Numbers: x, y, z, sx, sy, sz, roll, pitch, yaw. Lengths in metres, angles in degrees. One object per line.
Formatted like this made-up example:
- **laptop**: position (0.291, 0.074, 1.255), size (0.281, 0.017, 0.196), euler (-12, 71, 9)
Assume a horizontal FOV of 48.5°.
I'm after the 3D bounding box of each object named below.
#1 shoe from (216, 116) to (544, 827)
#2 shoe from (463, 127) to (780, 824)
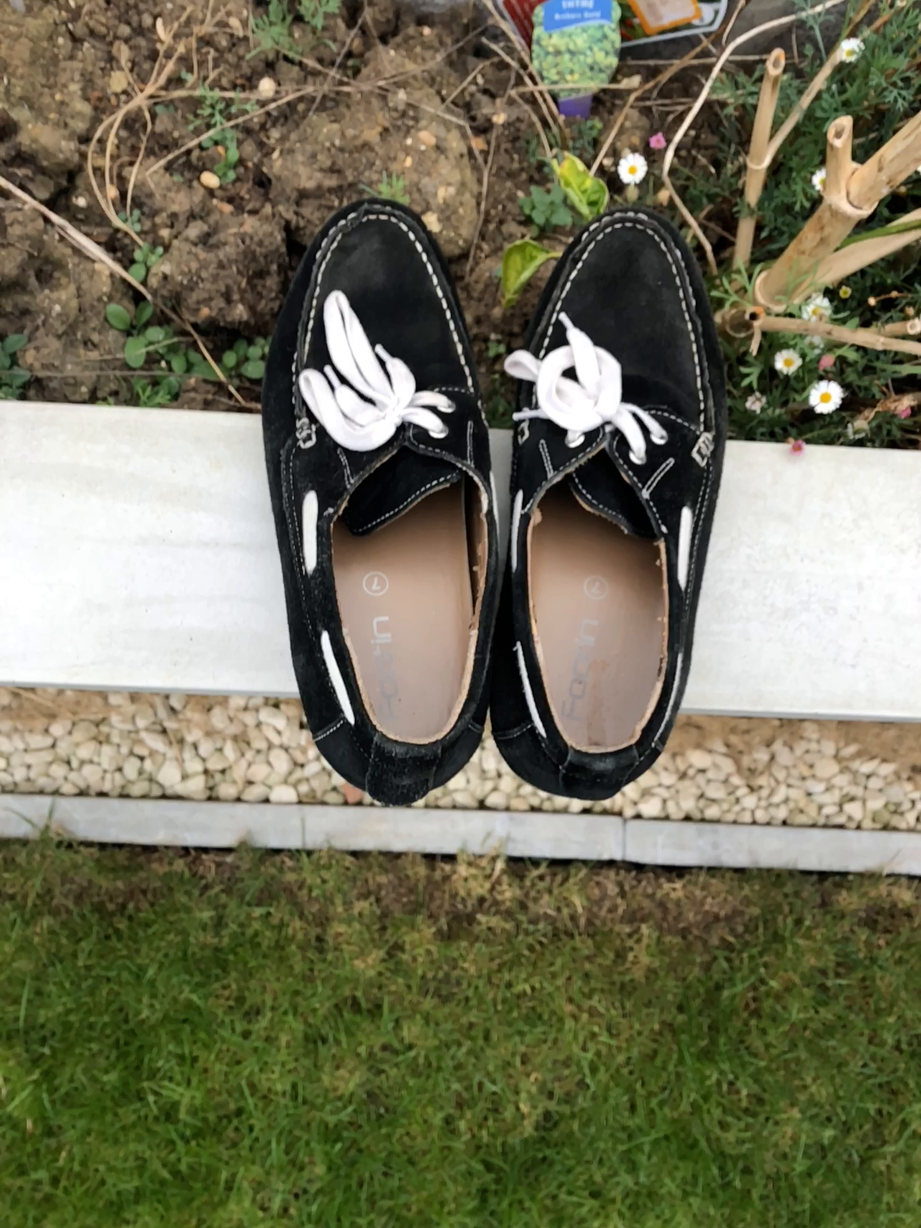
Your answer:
- **shoe**: position (-0.042, -0.068, 0.471), size (0.120, 0.090, 0.310), euler (-3, 73, -4)
- **shoe**: position (0.076, -0.064, 0.477), size (0.110, 0.090, 0.300), euler (7, 73, -3)
